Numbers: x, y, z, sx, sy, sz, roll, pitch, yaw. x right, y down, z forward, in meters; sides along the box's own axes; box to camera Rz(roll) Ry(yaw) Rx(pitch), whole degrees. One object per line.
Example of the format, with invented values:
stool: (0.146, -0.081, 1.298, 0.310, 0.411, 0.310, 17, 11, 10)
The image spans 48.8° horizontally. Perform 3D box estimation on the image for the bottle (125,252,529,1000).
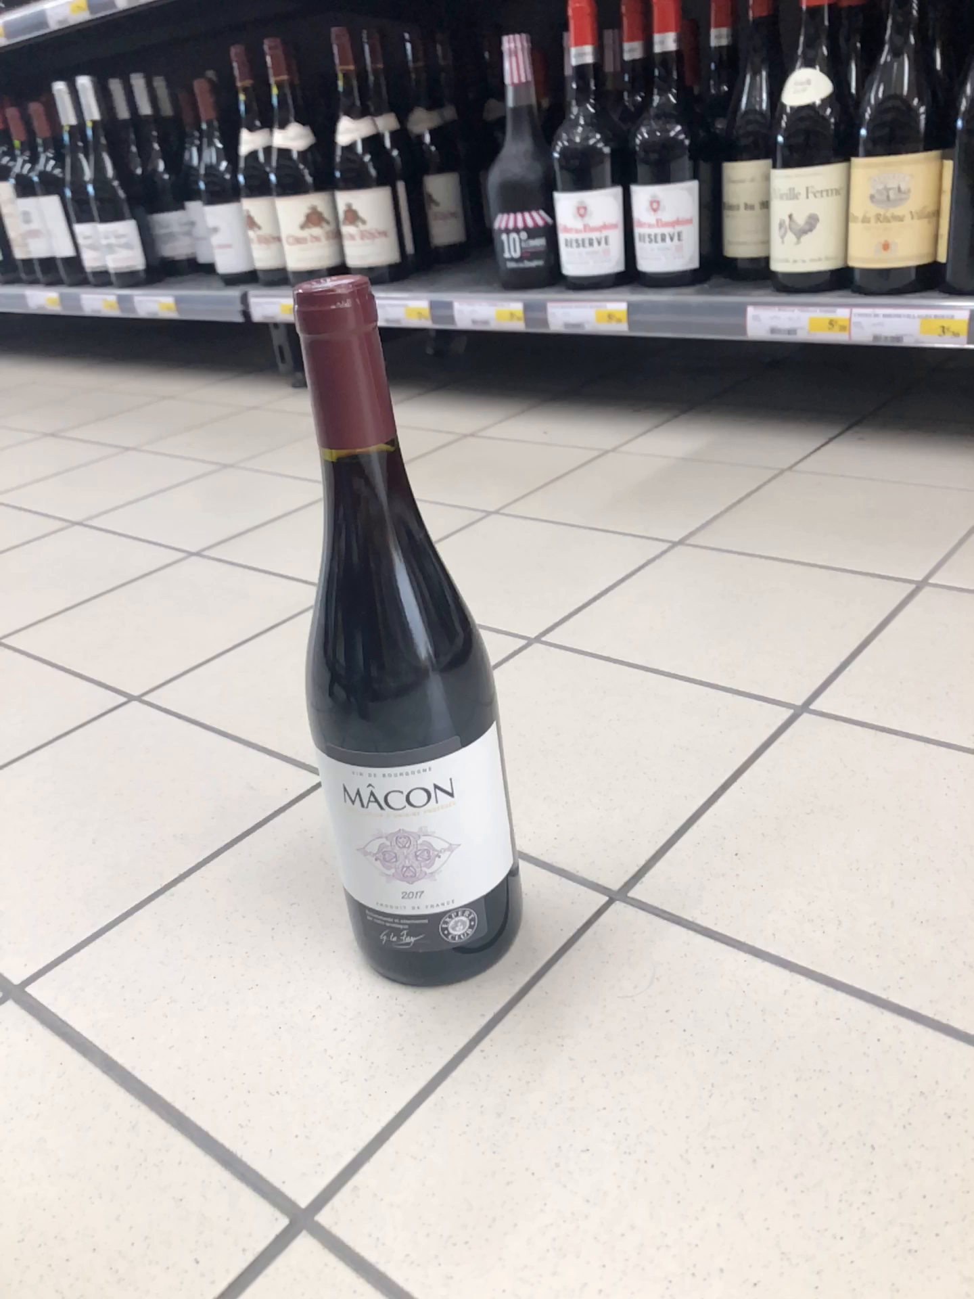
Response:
bottle: (-0.049, -0.002, 0.443, 0.090, 0.288, 0.091, -6, 25, 3)
